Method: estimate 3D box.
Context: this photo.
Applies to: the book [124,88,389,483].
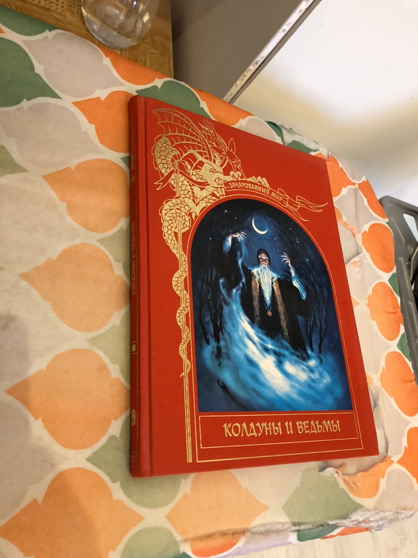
[{"bbox_3d":[0.037,-0.002,0.378,0.216,0.020,0.291,8,65,-30],"label":"book"}]
